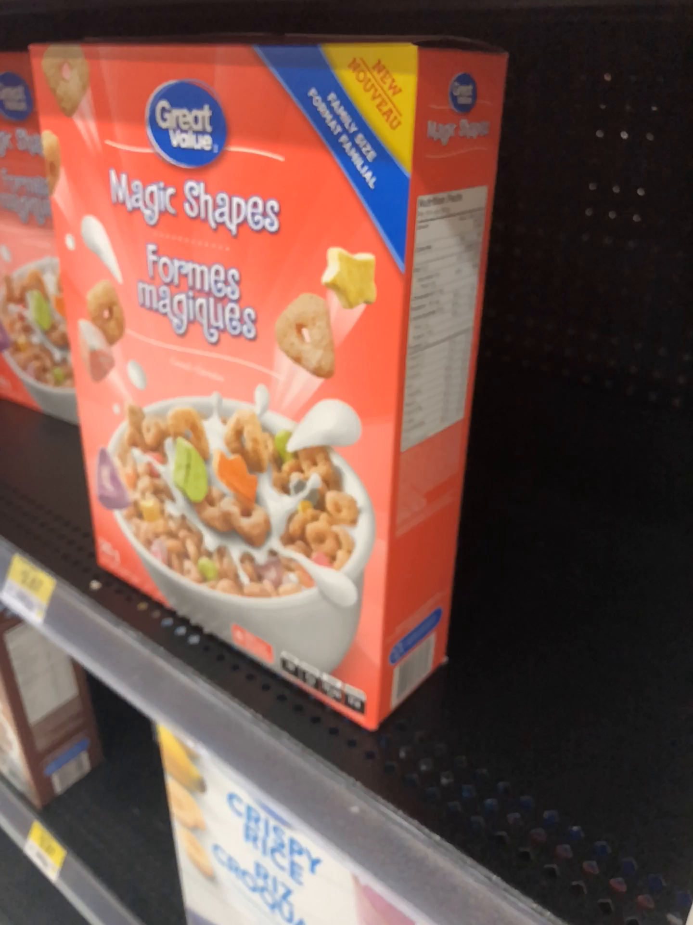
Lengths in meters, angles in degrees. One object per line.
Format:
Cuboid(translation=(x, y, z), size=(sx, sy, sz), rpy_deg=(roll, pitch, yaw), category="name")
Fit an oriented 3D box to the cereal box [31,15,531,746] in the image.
Cuboid(translation=(-0.050, -0.052, 0.444), size=(0.251, 0.339, 0.080), rpy_deg=(21, 31, 34), category="cereal box")
